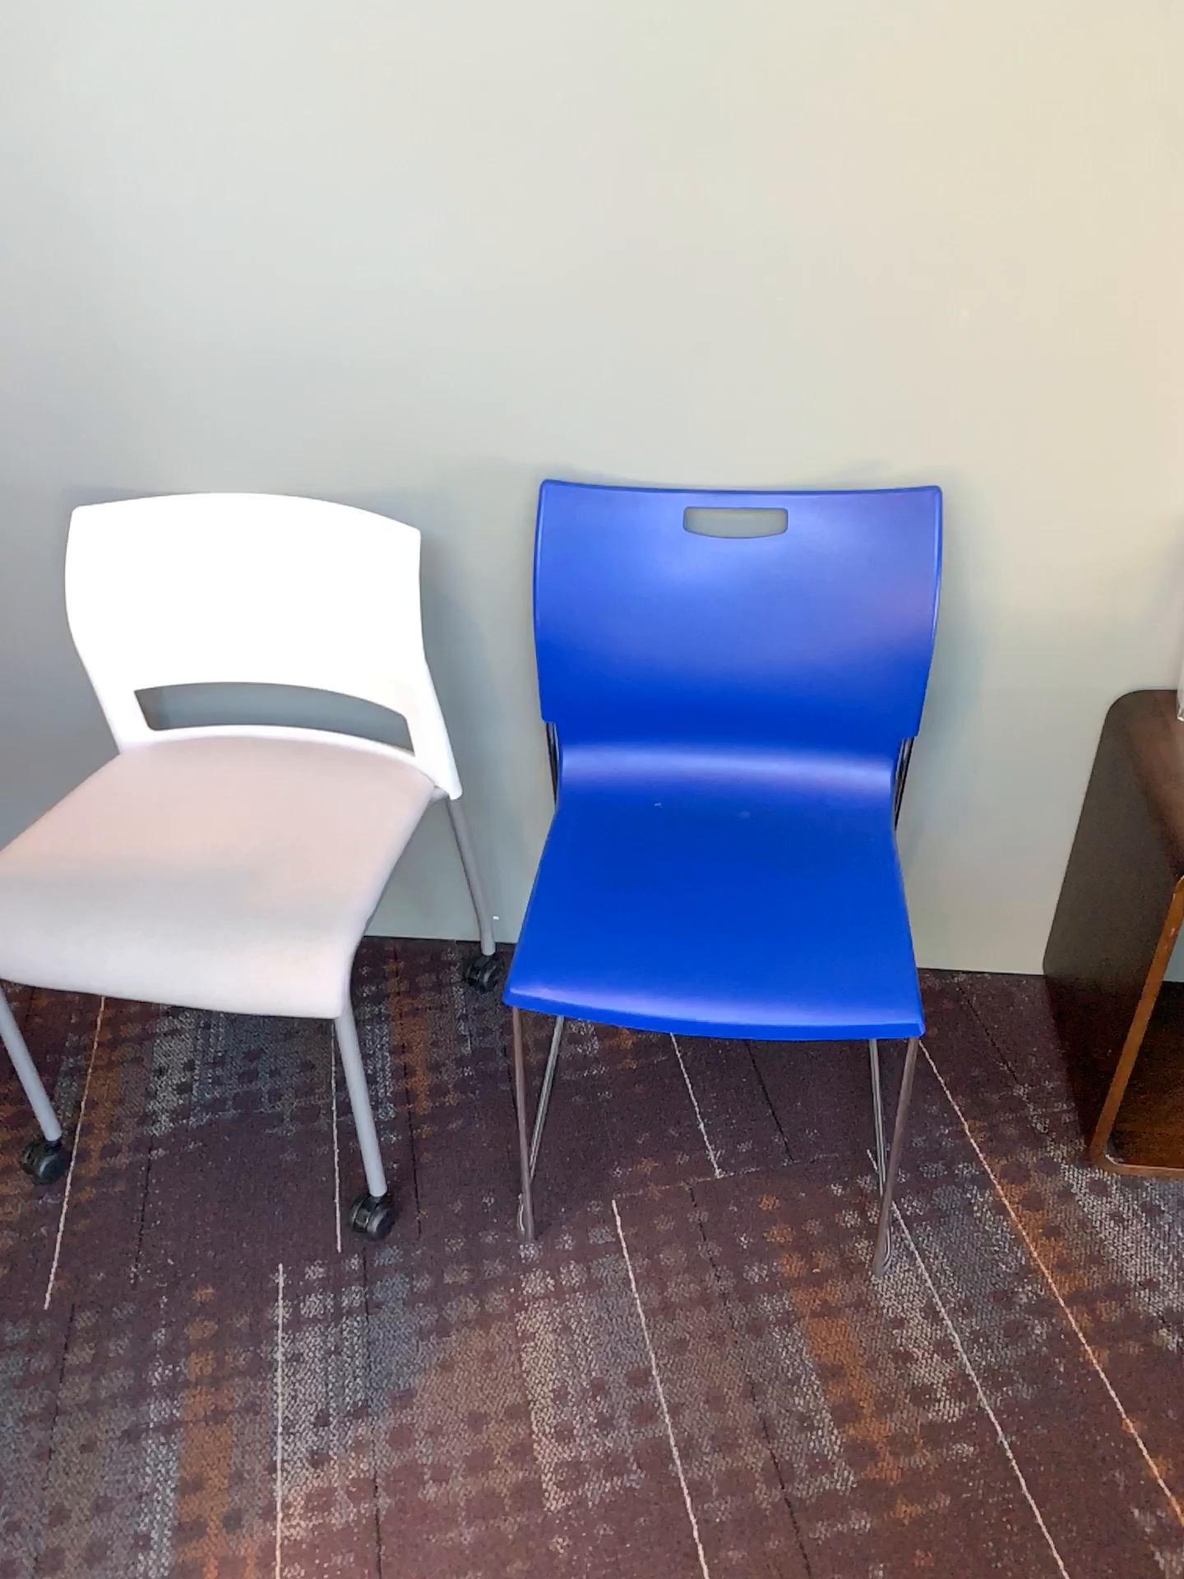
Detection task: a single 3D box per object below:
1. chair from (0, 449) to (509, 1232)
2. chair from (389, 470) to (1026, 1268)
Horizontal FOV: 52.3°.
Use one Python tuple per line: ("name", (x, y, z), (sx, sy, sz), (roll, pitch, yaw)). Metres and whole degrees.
("chair", (-0.418, 0.067, 1.537), (0.590, 0.795, 0.564), (2, 34, -3))
("chair", (0.148, 0.069, 1.584), (0.590, 0.795, 0.623), (3, 30, 8))
